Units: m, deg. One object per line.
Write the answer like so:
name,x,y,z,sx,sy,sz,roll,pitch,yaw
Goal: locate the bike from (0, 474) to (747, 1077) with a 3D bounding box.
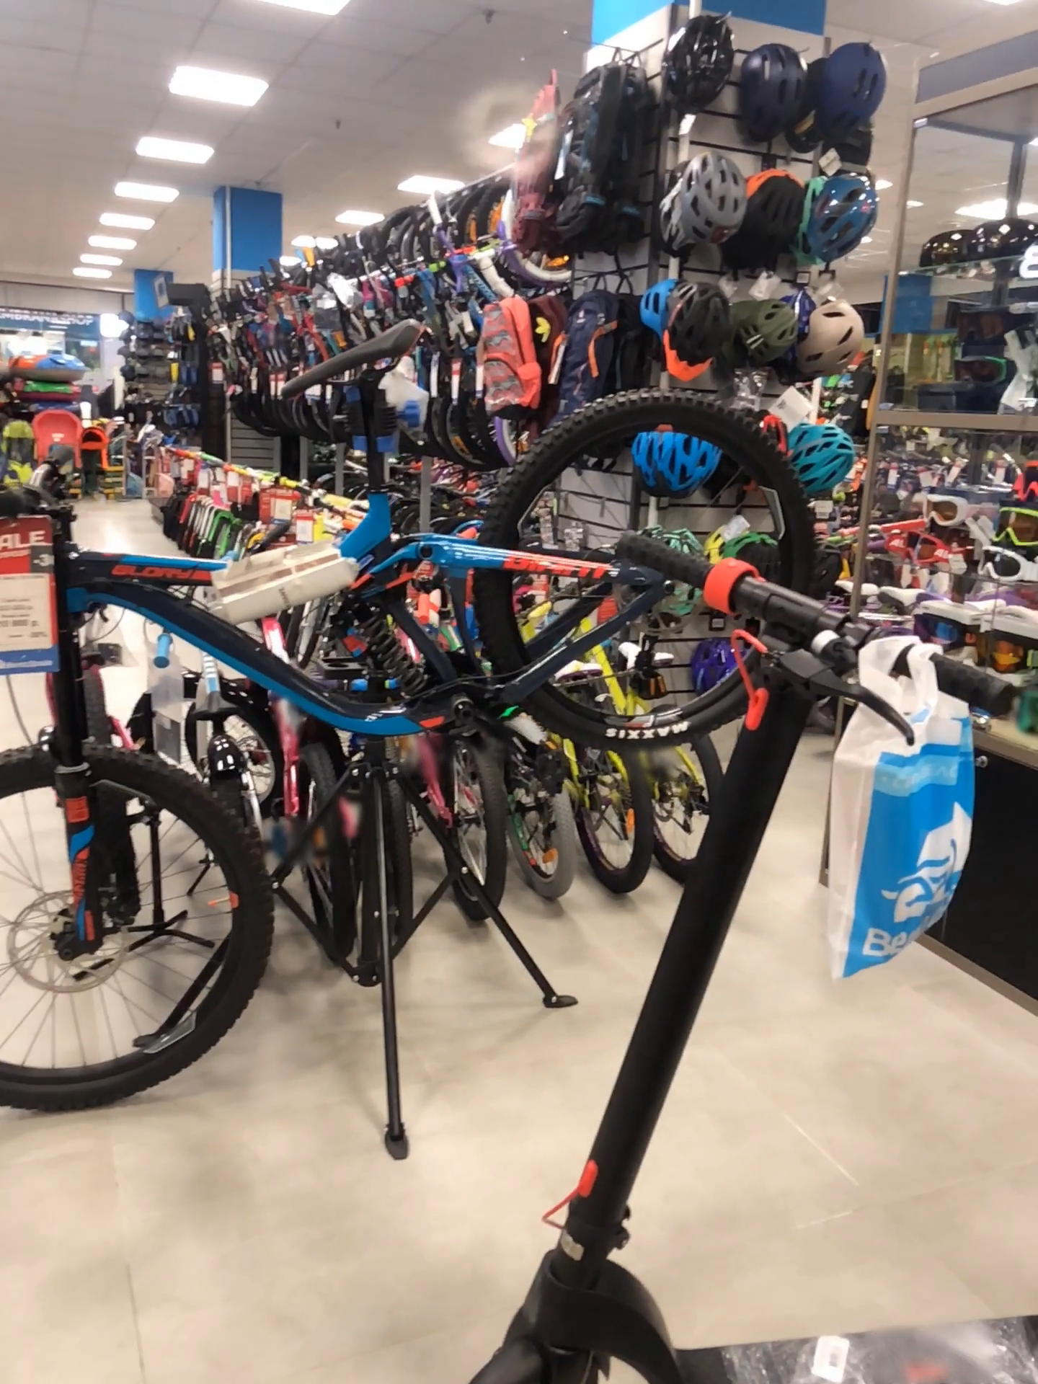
bike,-0.423,0.054,2.019,1.522,0.182,0.661,-26,19,-6
